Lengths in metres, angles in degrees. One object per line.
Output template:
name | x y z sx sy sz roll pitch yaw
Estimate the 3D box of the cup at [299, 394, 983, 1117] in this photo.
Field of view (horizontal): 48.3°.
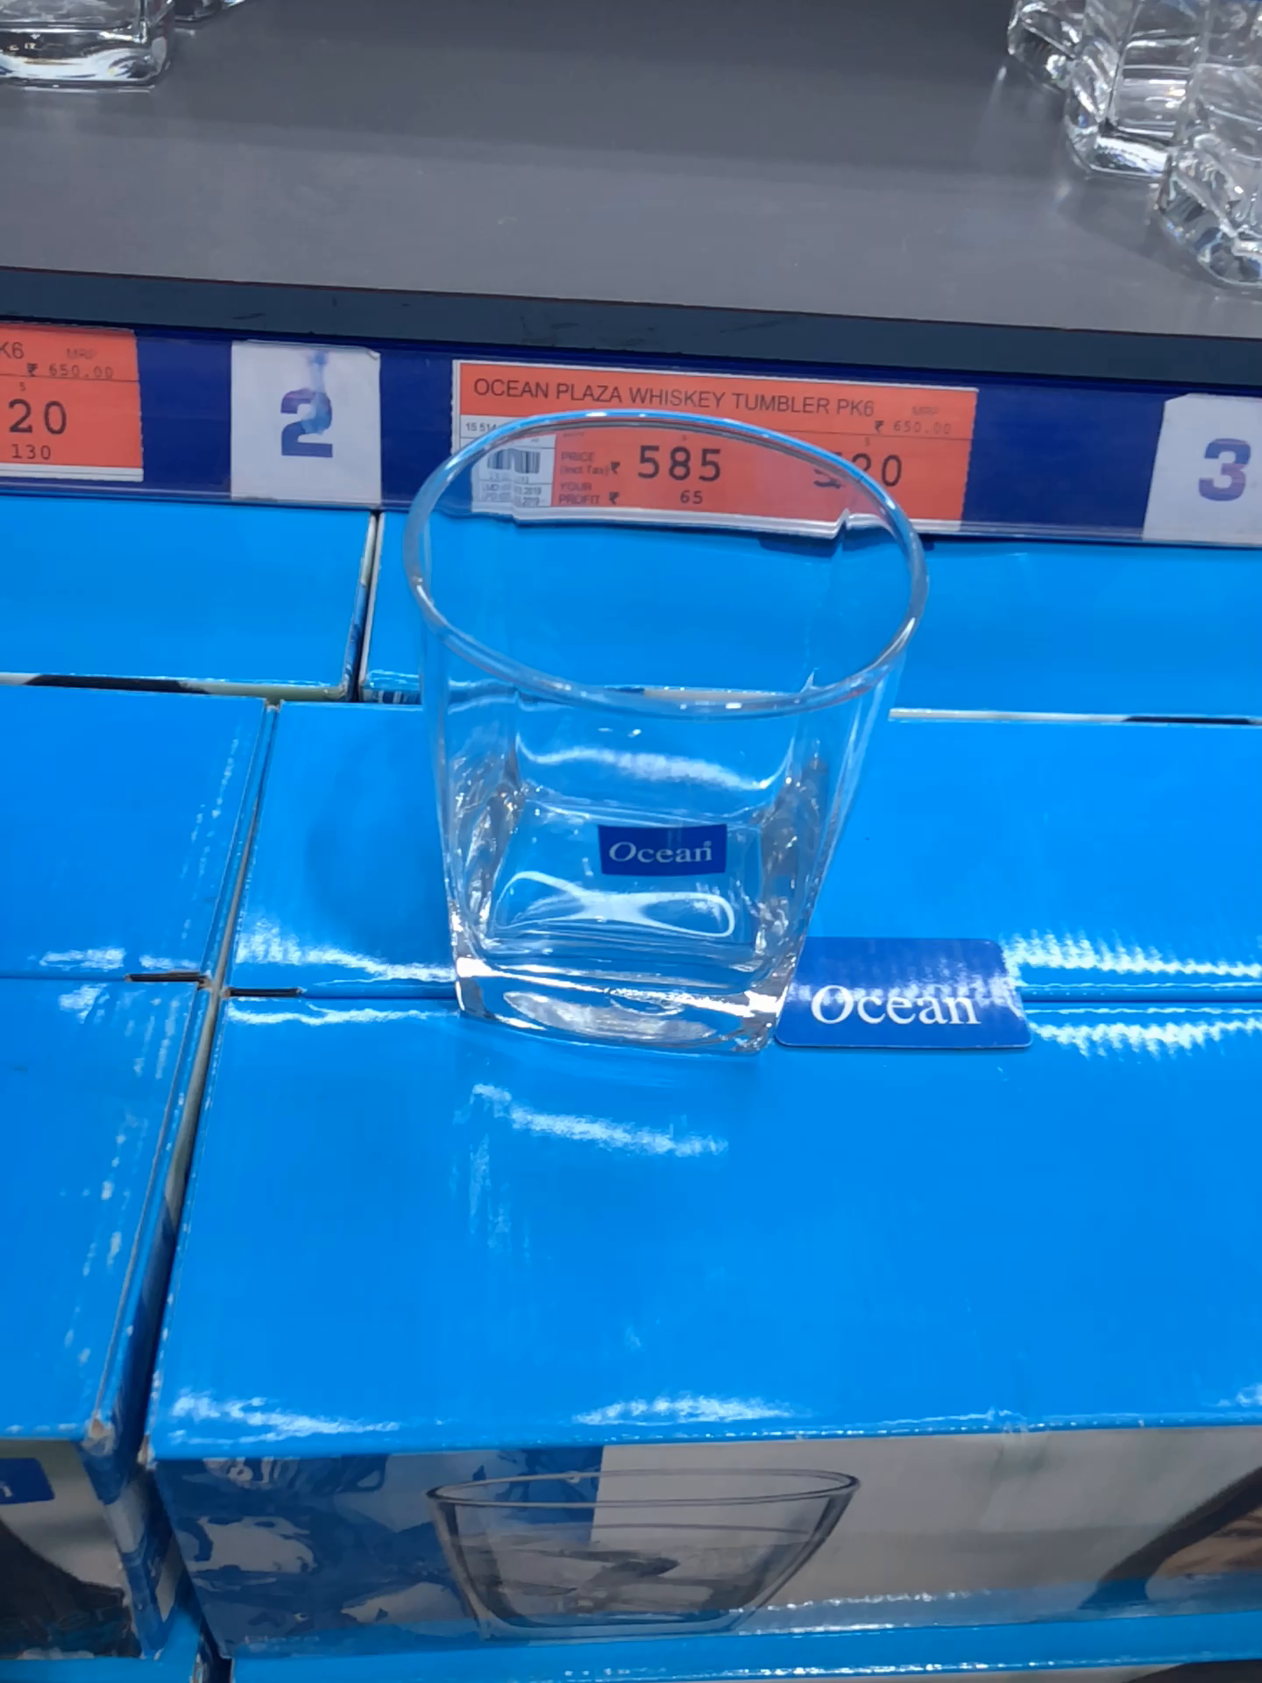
cup | 0.000 -0.016 0.245 0.090 0.080 0.090 3 44 -3
